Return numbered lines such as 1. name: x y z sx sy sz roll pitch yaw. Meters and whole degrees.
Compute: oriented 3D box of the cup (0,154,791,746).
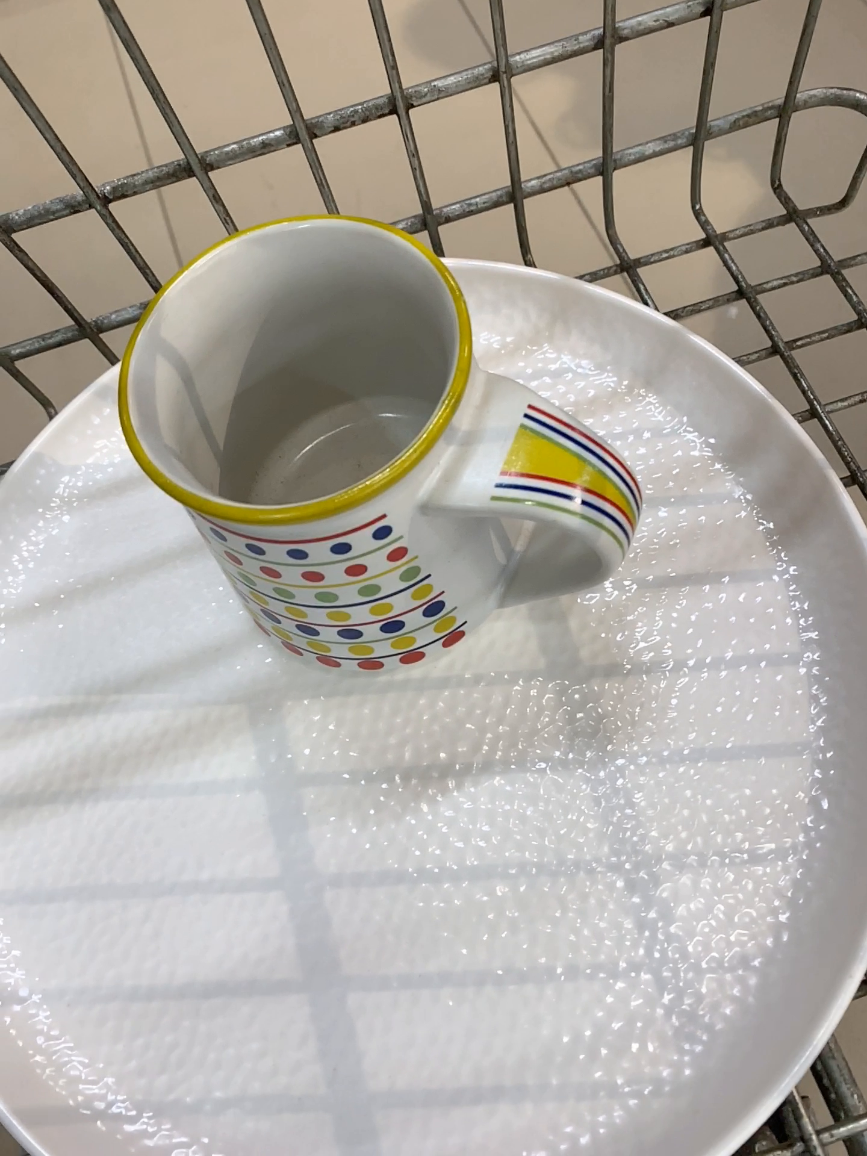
1. cup: -0.002 -0.019 0.193 0.120 0.100 0.080 2 66 8
